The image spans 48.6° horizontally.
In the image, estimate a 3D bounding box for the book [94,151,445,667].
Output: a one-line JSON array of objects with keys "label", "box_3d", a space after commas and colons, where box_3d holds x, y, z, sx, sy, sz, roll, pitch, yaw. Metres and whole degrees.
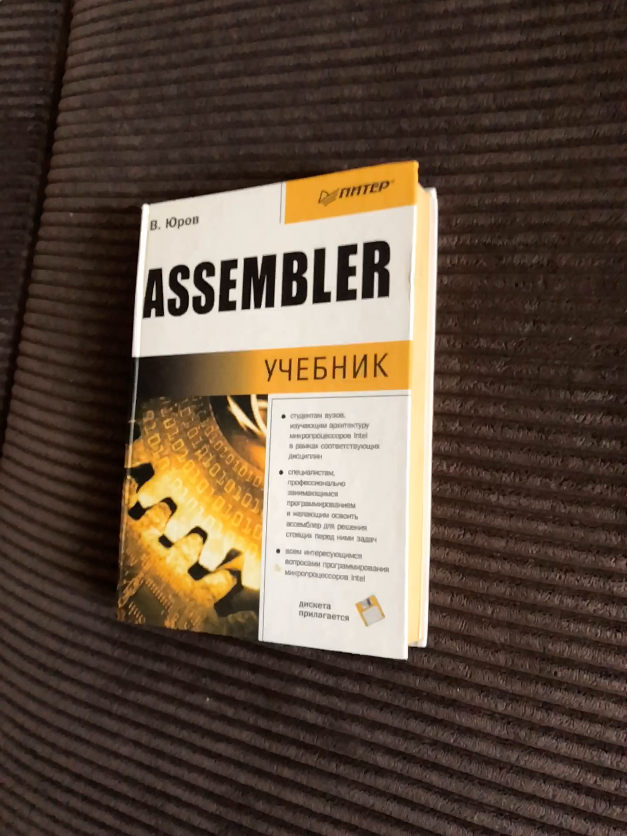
[{"label": "book", "box_3d": [-0.022, -0.005, 0.374, 0.170, 0.058, 0.237, -1, 82, 23]}]
